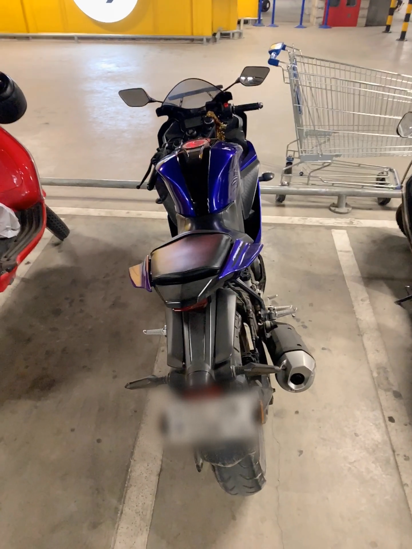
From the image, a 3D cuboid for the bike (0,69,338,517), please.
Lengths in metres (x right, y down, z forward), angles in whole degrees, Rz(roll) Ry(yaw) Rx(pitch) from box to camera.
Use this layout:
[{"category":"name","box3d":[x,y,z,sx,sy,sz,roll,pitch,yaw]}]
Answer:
[{"category":"bike","box3d":[-0.233,-0.106,1.730,0.687,0.933,1.657,-6,40,-7]}]
